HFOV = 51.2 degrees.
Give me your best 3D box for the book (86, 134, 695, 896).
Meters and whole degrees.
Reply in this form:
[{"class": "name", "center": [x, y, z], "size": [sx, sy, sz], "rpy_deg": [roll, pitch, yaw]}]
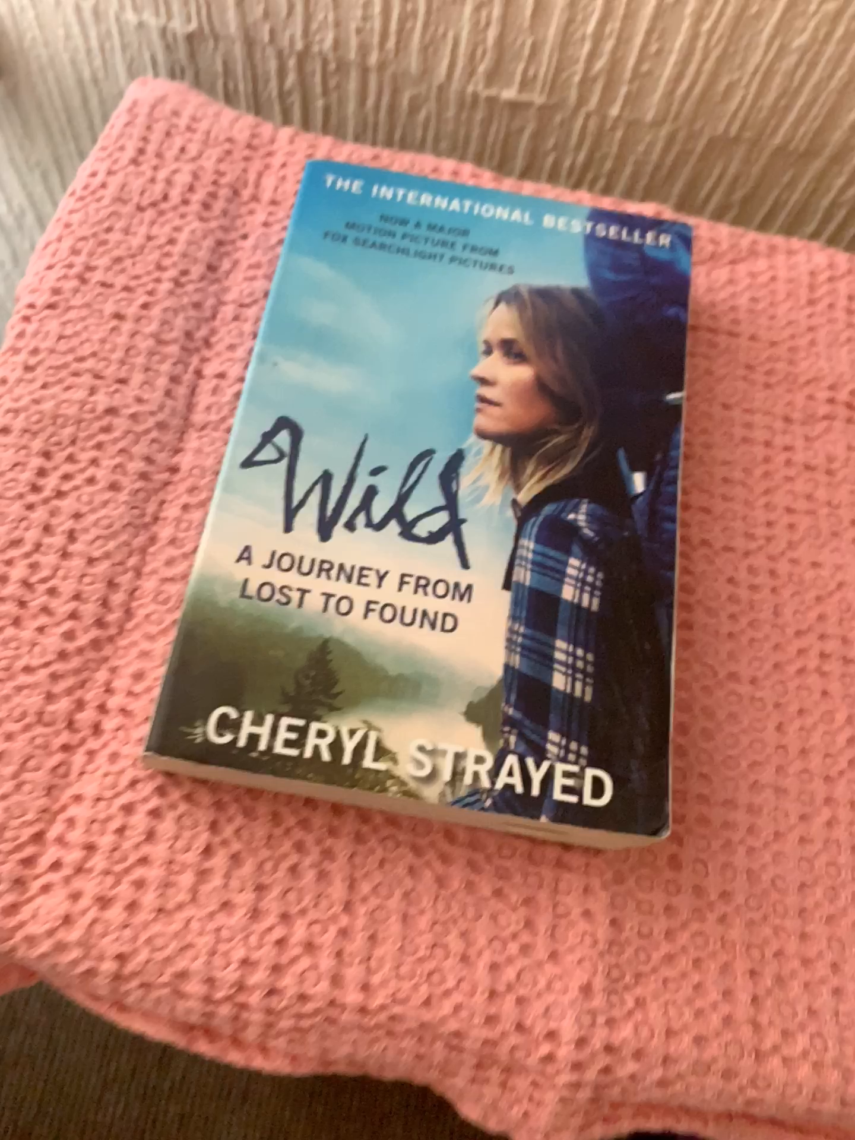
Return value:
[{"class": "book", "center": [0.003, -0.026, 0.262], "size": [0.140, 0.030, 0.211], "rpy_deg": [10, 67, -3]}]
